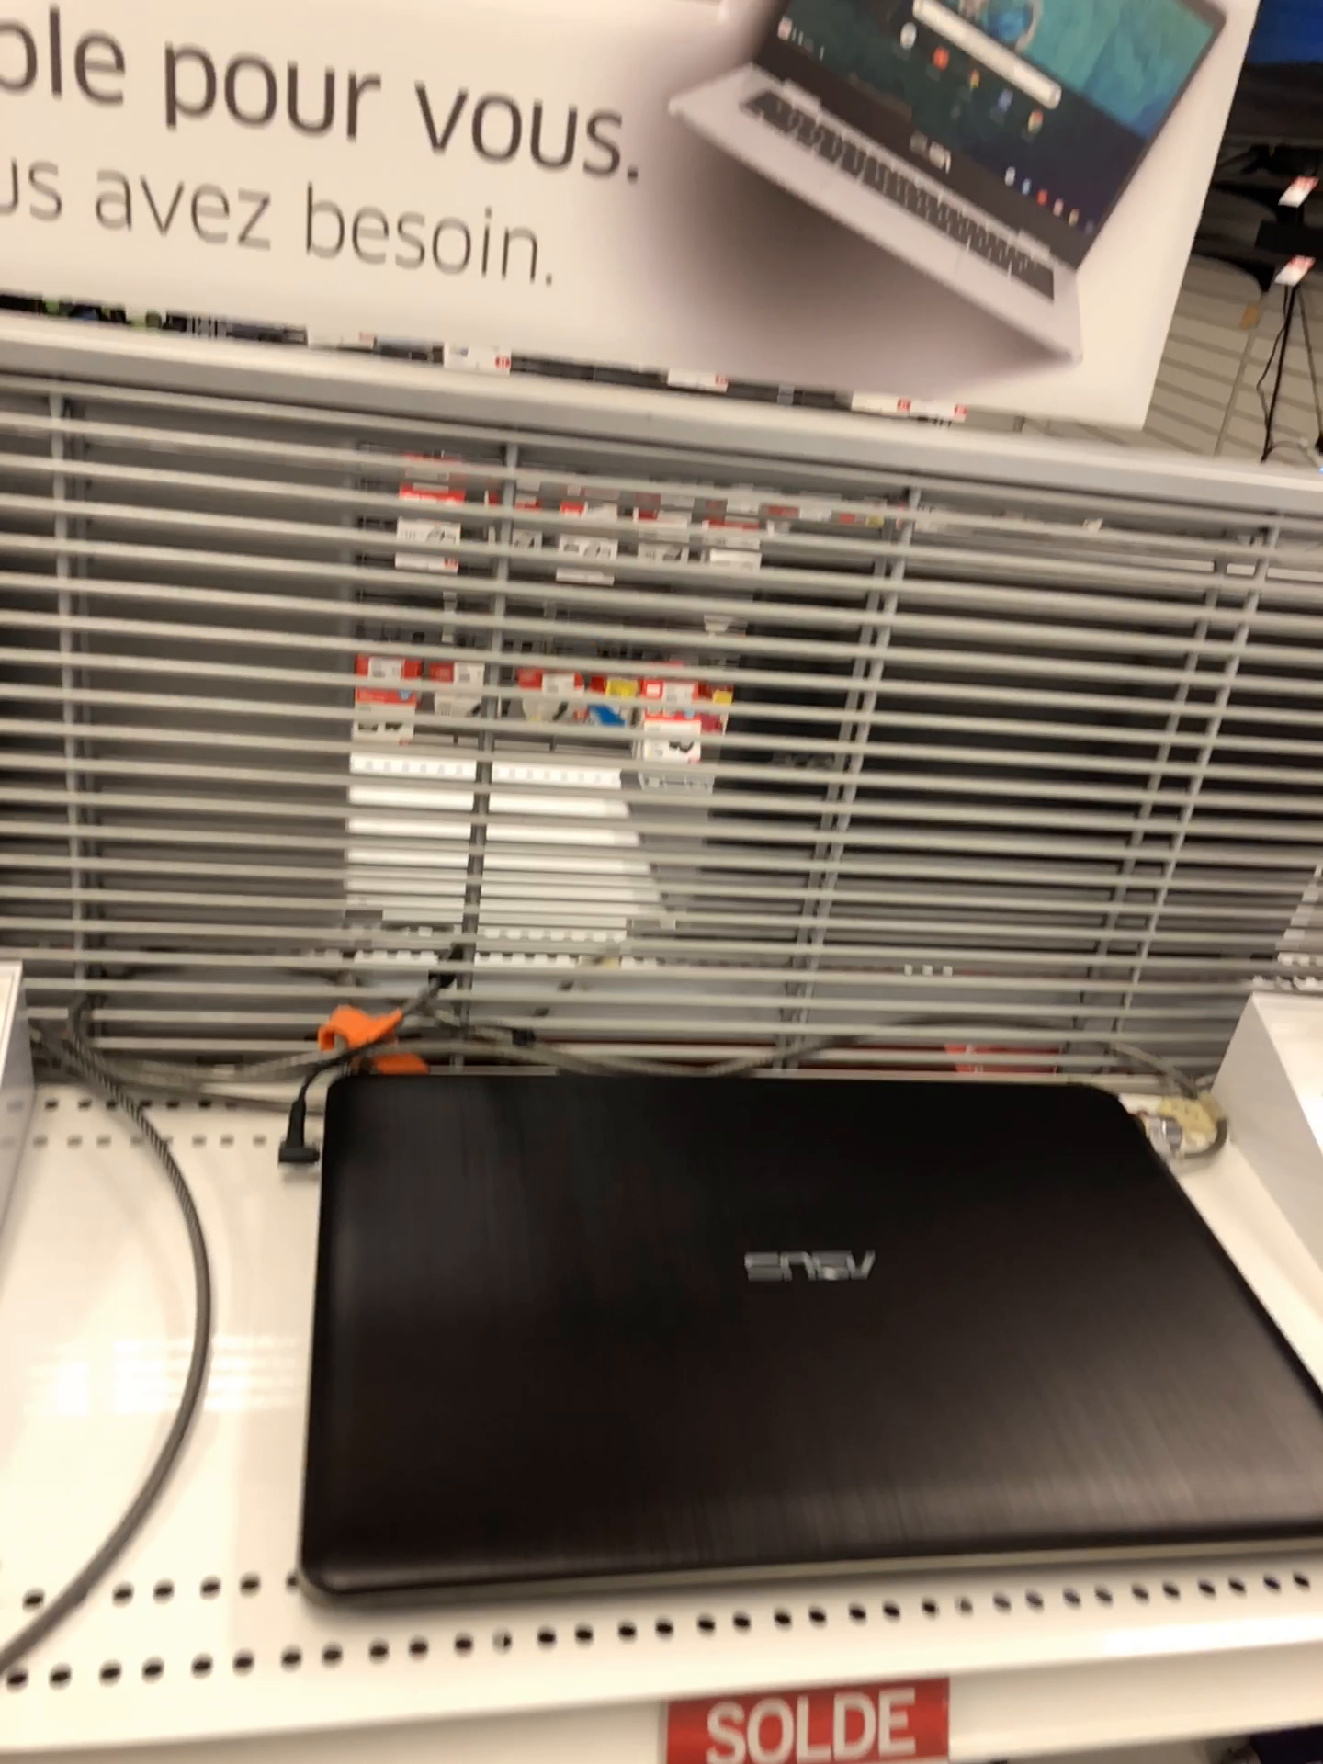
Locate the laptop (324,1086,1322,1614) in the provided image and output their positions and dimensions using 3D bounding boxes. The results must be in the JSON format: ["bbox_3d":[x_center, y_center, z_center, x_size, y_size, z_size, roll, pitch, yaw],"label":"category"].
[{"bbox_3d":[0.059,0.164,0.579,0.367,0.013,0.235,4,30,-14],"label":"laptop"}]
